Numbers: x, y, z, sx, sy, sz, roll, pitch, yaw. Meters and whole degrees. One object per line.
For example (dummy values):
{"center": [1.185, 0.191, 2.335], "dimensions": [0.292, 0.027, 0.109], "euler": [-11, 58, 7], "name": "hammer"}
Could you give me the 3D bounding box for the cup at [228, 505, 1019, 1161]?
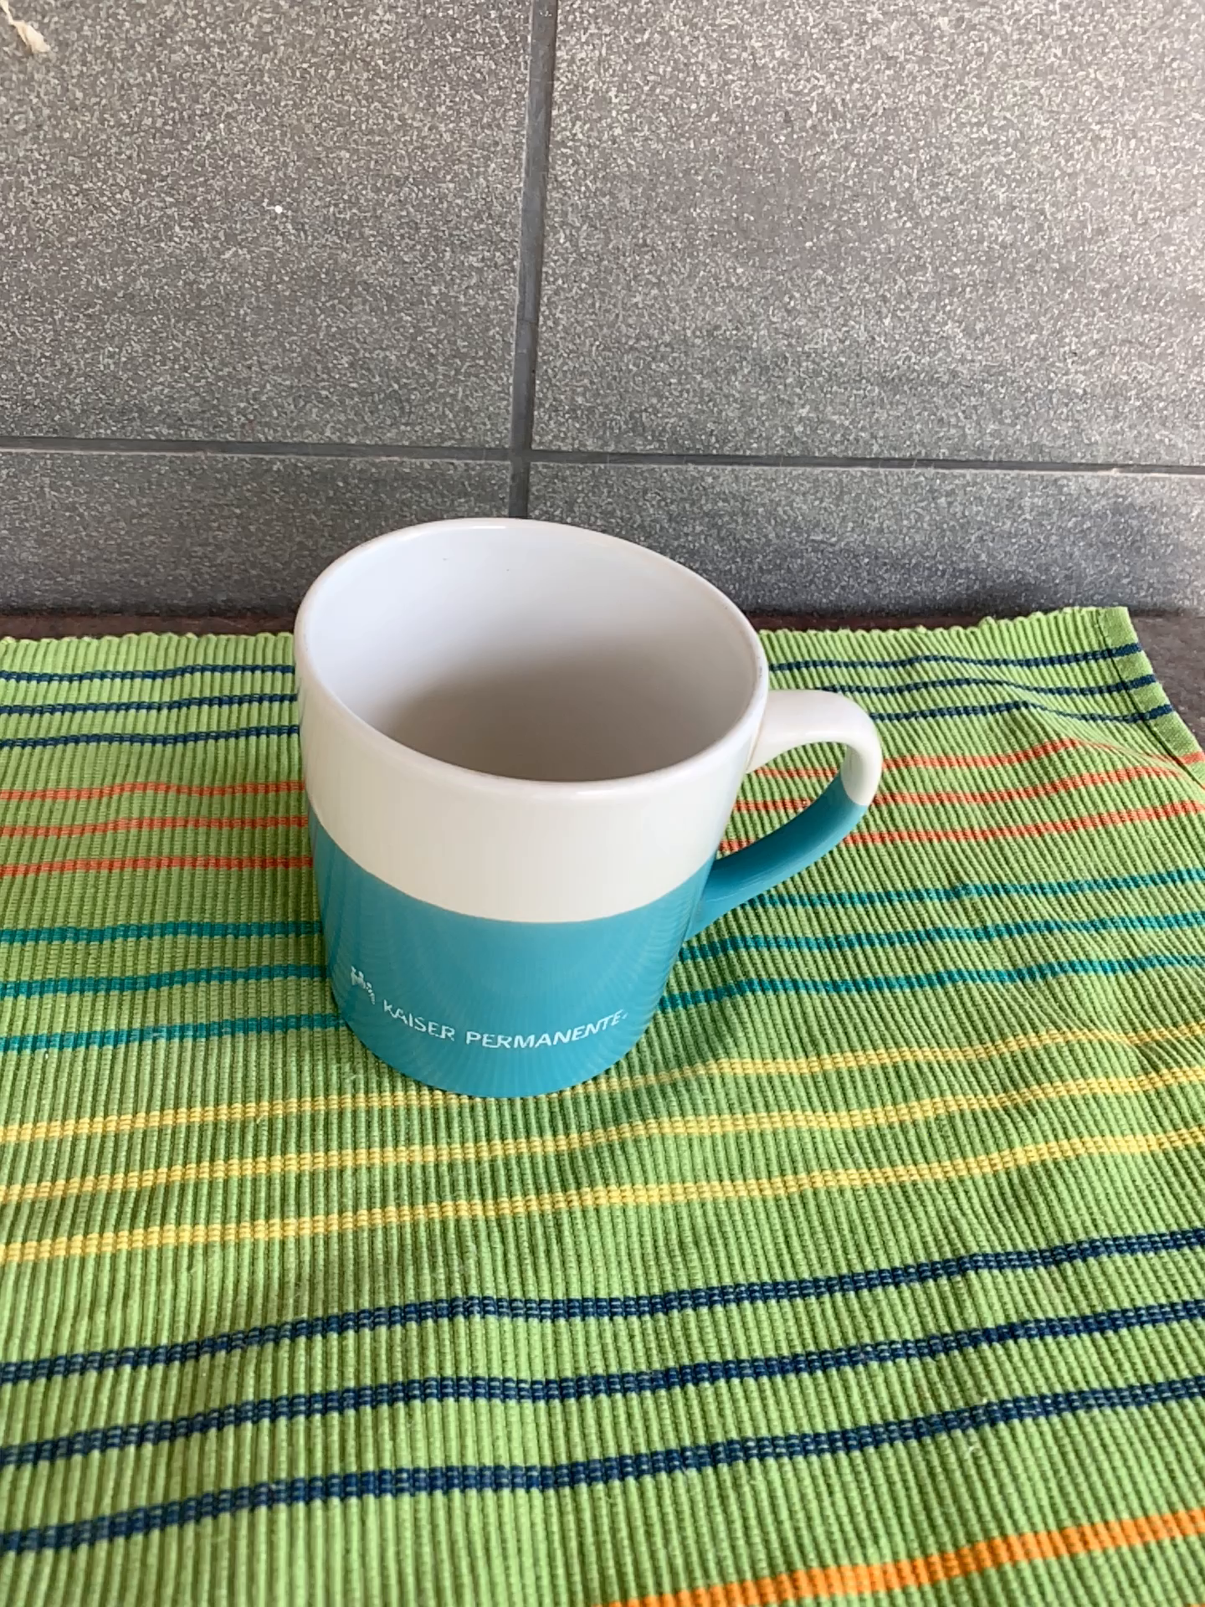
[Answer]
{"center": [-0.006, 0.002, 0.283], "dimensions": [0.140, 0.100, 0.100], "euler": [-3, 41, -12], "name": "cup"}
